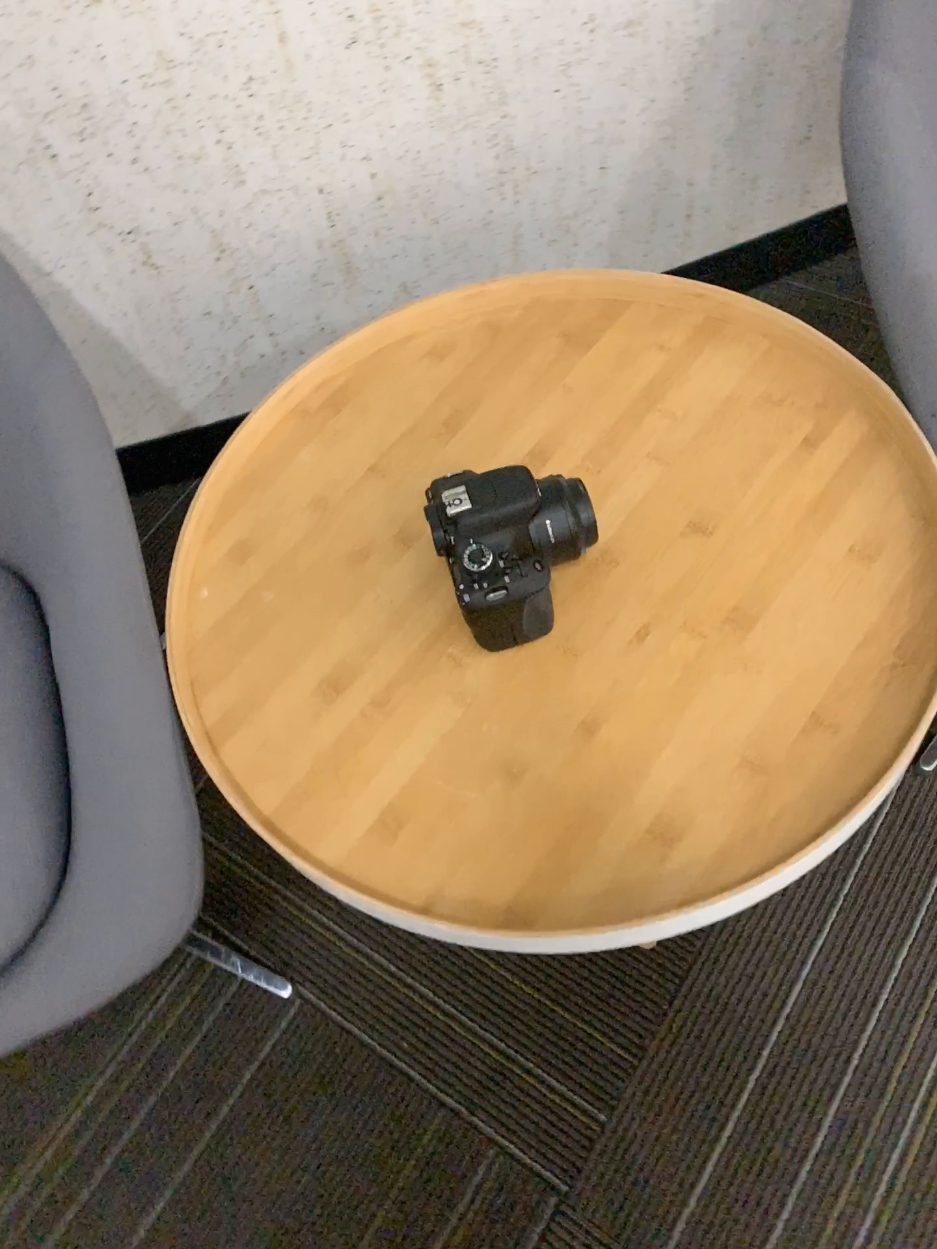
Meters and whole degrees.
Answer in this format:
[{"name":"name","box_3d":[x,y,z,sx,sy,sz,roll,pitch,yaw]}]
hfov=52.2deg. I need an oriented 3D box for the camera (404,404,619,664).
[{"name":"camera","box_3d":[0.034,-0.067,0.718,0.117,0.100,0.134,-18,59,-1]}]
